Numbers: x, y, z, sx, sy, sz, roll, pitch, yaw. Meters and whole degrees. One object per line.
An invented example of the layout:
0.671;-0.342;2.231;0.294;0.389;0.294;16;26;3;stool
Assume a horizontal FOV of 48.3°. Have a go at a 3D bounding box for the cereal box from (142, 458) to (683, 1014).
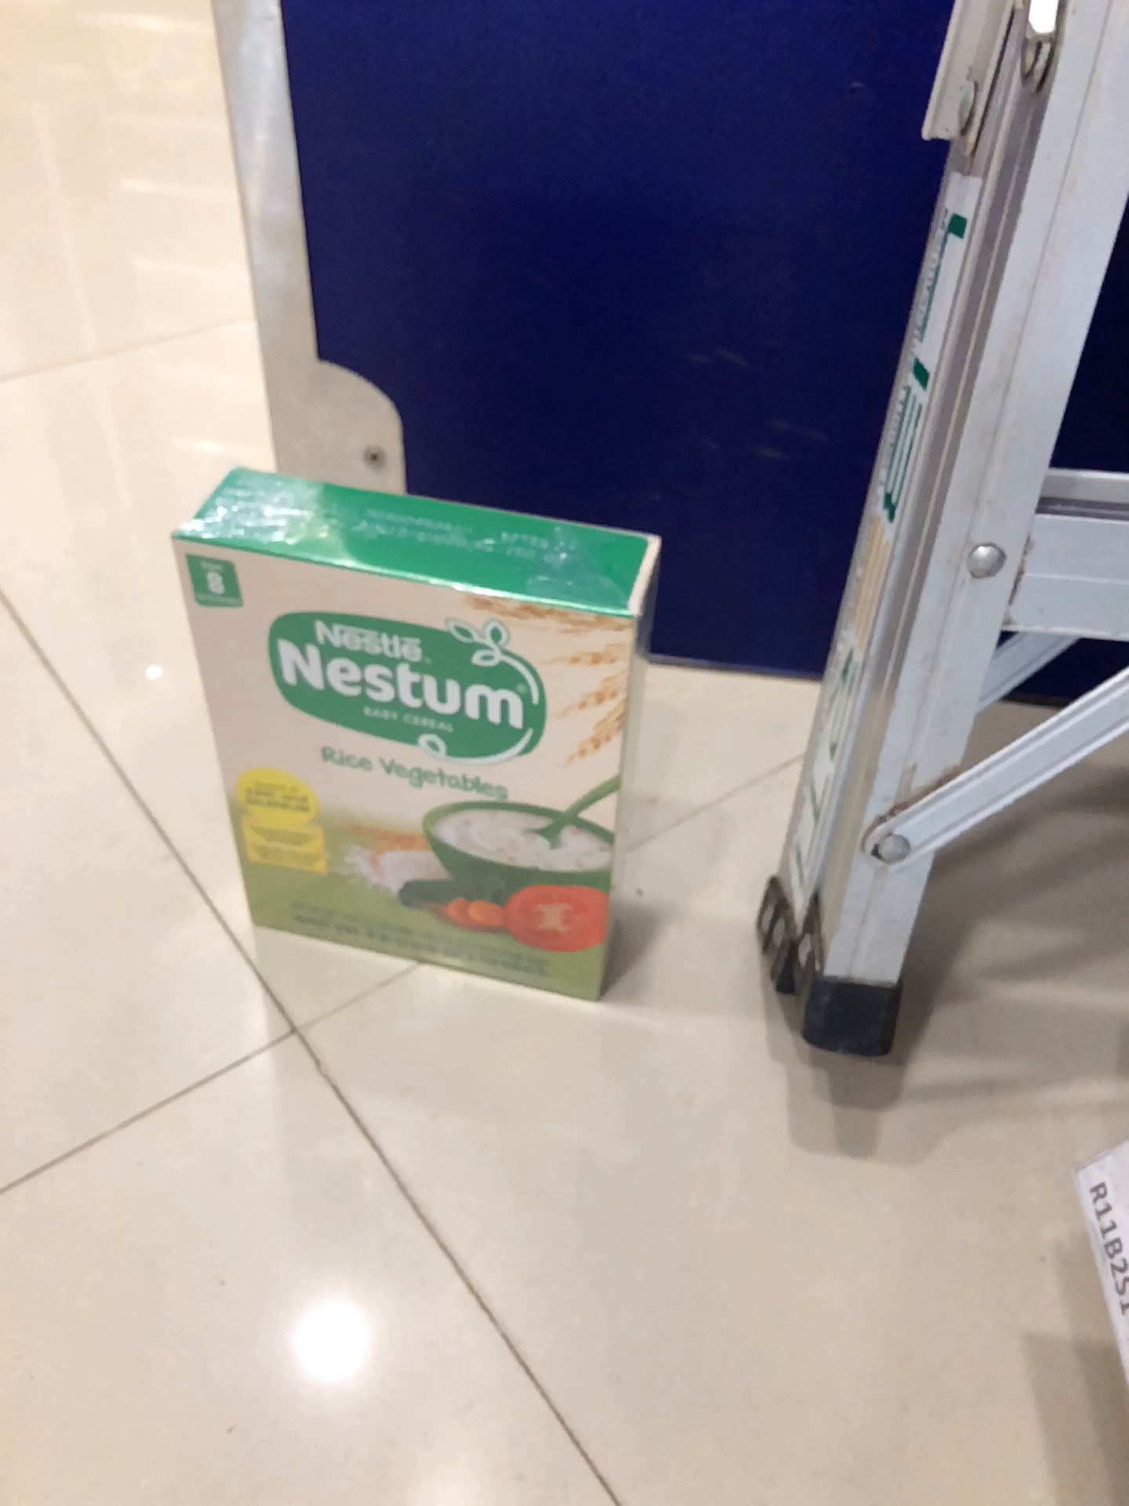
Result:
-0.050;0.001;0.458;0.160;0.189;0.050;11;44;8;cereal box
